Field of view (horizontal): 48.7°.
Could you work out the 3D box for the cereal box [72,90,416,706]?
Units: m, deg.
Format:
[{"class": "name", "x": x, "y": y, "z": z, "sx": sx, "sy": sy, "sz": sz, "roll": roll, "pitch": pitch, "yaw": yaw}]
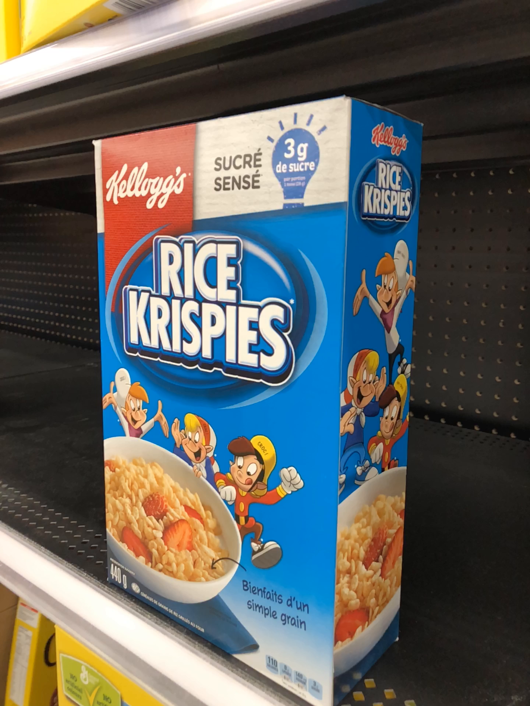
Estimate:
[{"class": "cereal box", "x": -0.024, "y": 0.018, "z": 0.367, "sx": 0.200, "sy": 0.299, "sz": 0.080, "roll": 9, "pitch": 12, "yaw": 40}]
